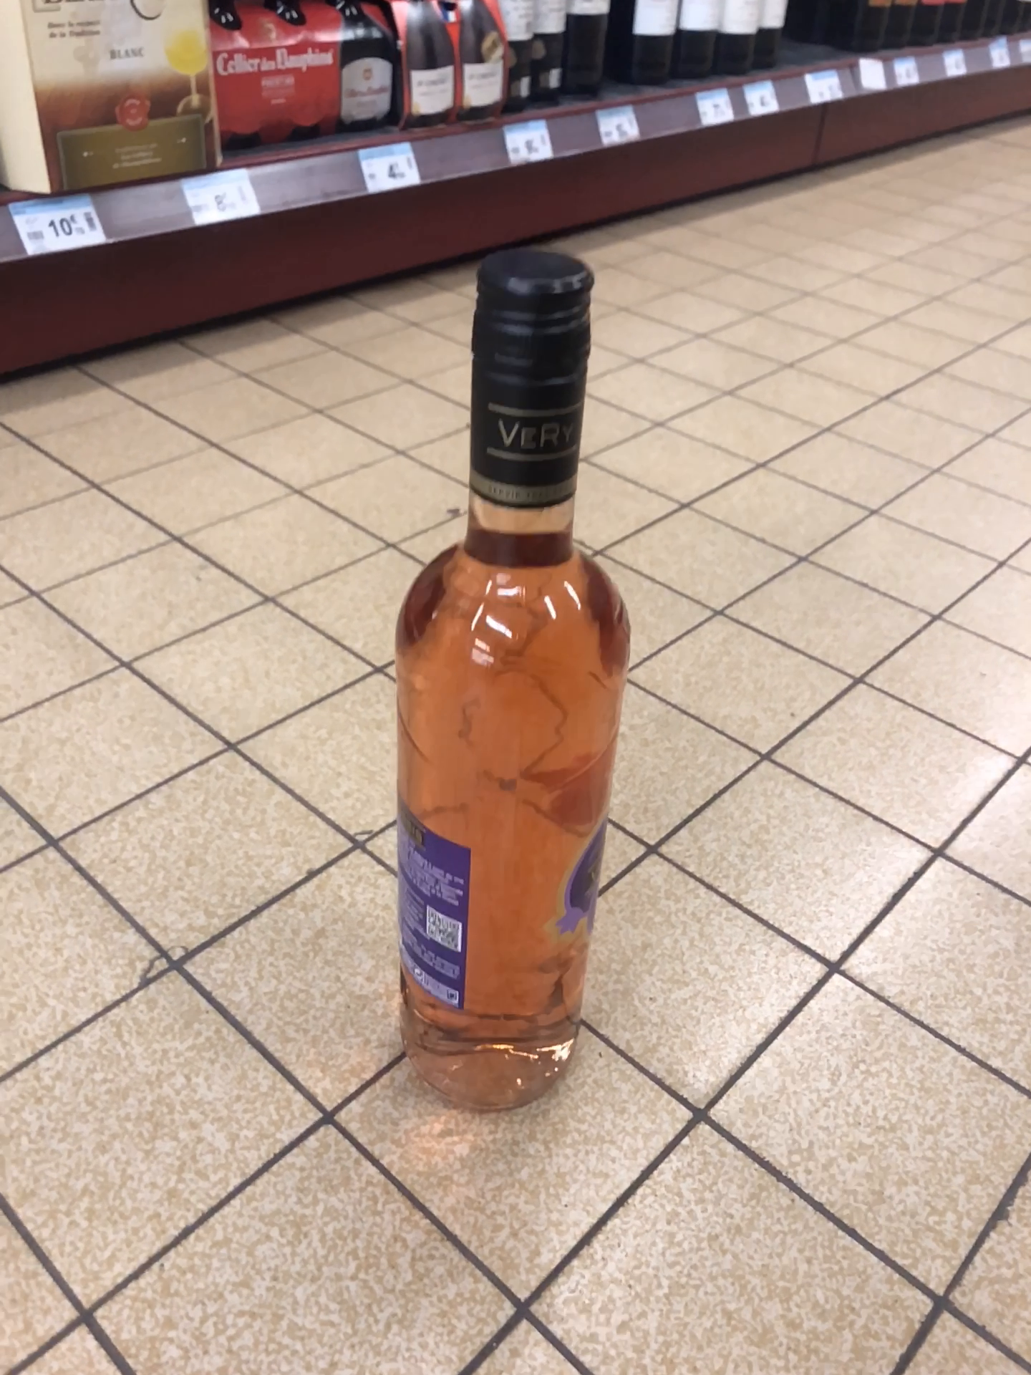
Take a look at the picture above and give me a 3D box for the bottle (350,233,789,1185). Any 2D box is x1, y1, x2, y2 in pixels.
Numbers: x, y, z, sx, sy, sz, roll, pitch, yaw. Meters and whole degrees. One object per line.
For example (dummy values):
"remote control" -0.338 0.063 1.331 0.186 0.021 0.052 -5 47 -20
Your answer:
"bottle" 0.001 0.025 0.356 0.080 0.298 0.080 3 36 -2
